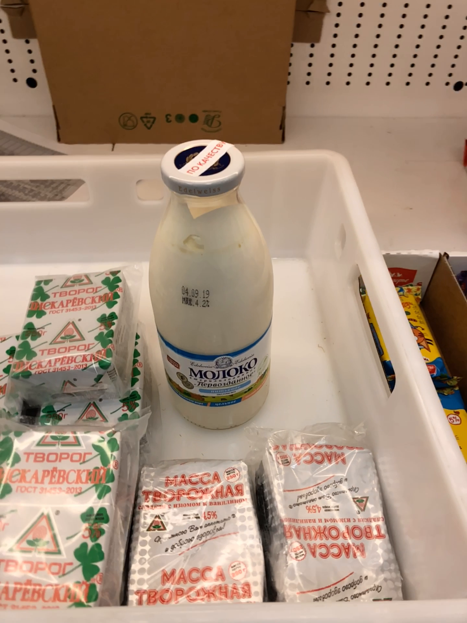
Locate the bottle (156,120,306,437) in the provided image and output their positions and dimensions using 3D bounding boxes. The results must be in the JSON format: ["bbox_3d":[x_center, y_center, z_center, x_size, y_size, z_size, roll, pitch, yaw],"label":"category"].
[{"bbox_3d":[-0.007,-0.007,0.352,0.071,0.220,0.073,1,46,-1],"label":"bottle"}]
